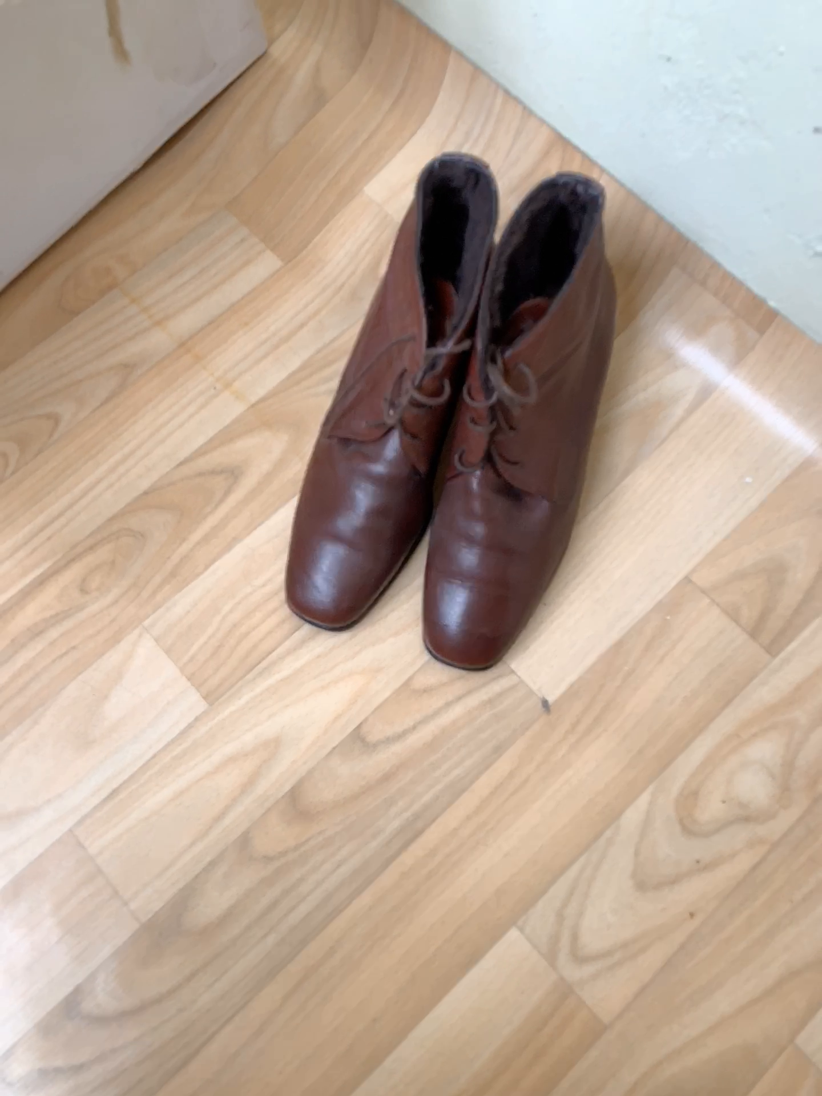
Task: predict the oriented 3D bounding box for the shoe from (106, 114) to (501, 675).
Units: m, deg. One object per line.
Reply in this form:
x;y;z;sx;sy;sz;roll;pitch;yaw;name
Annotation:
-0.035;-0.063;0.416;0.080;0.150;0.220;21;76;9;shoe

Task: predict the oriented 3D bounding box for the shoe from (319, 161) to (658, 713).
0.041;-0.042;0.416;0.080;0.150;0.220;17;76;8;shoe
